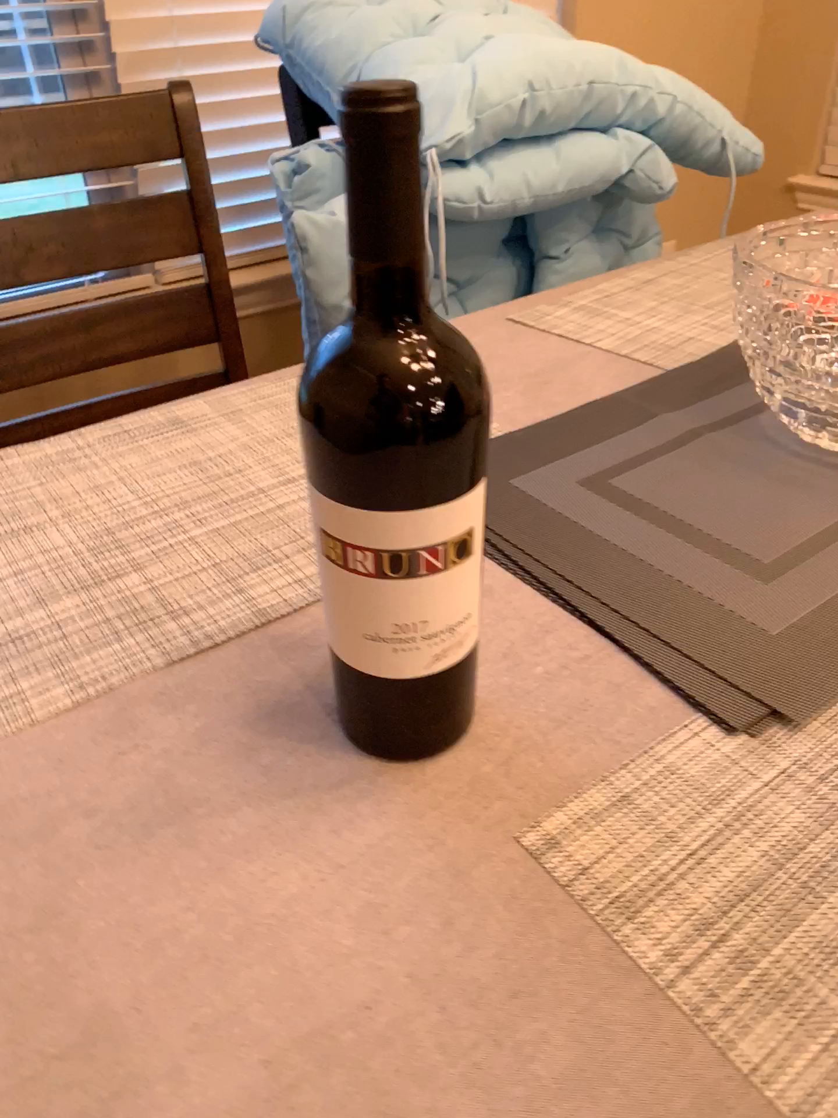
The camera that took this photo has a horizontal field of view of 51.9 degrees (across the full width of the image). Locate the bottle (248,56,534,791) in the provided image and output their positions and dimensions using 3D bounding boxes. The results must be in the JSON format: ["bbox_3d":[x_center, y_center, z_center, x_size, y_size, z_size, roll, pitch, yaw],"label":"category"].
[{"bbox_3d":[-0.008,-0.040,0.372,0.083,0.298,0.091,-1,34,1],"label":"bottle"}]
